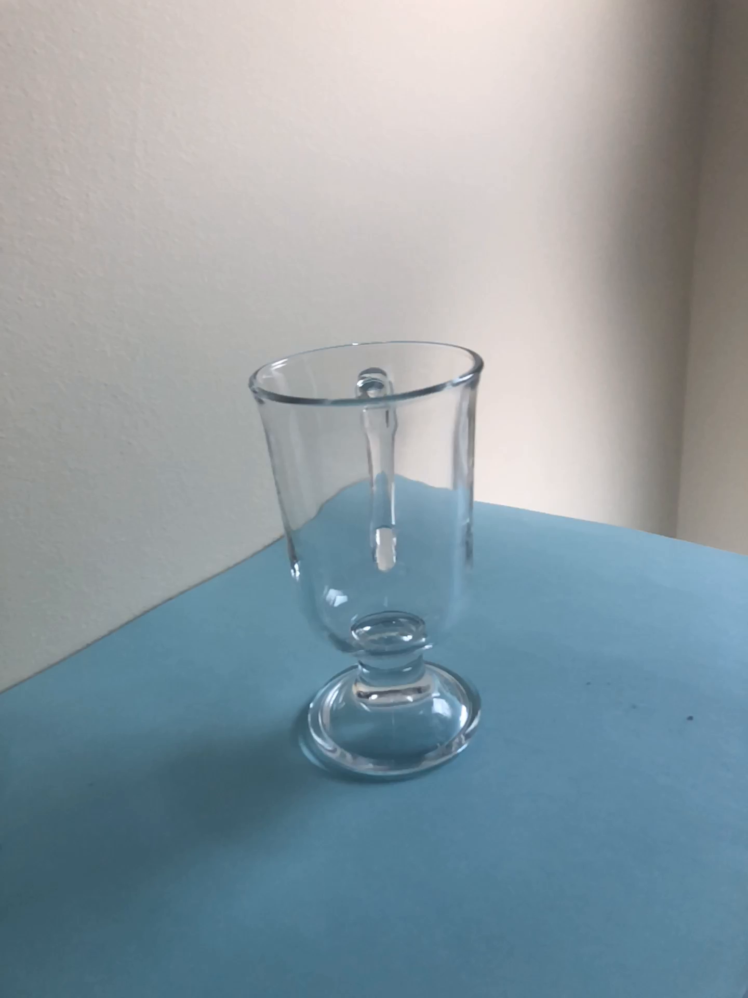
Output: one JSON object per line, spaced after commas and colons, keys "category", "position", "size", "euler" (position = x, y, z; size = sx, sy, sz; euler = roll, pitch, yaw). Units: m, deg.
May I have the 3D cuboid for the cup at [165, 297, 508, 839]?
{"category": "cup", "position": [-0.004, 0.013, 0.242], "size": [0.070, 0.119, 0.101], "euler": [-4, 23, 2]}
